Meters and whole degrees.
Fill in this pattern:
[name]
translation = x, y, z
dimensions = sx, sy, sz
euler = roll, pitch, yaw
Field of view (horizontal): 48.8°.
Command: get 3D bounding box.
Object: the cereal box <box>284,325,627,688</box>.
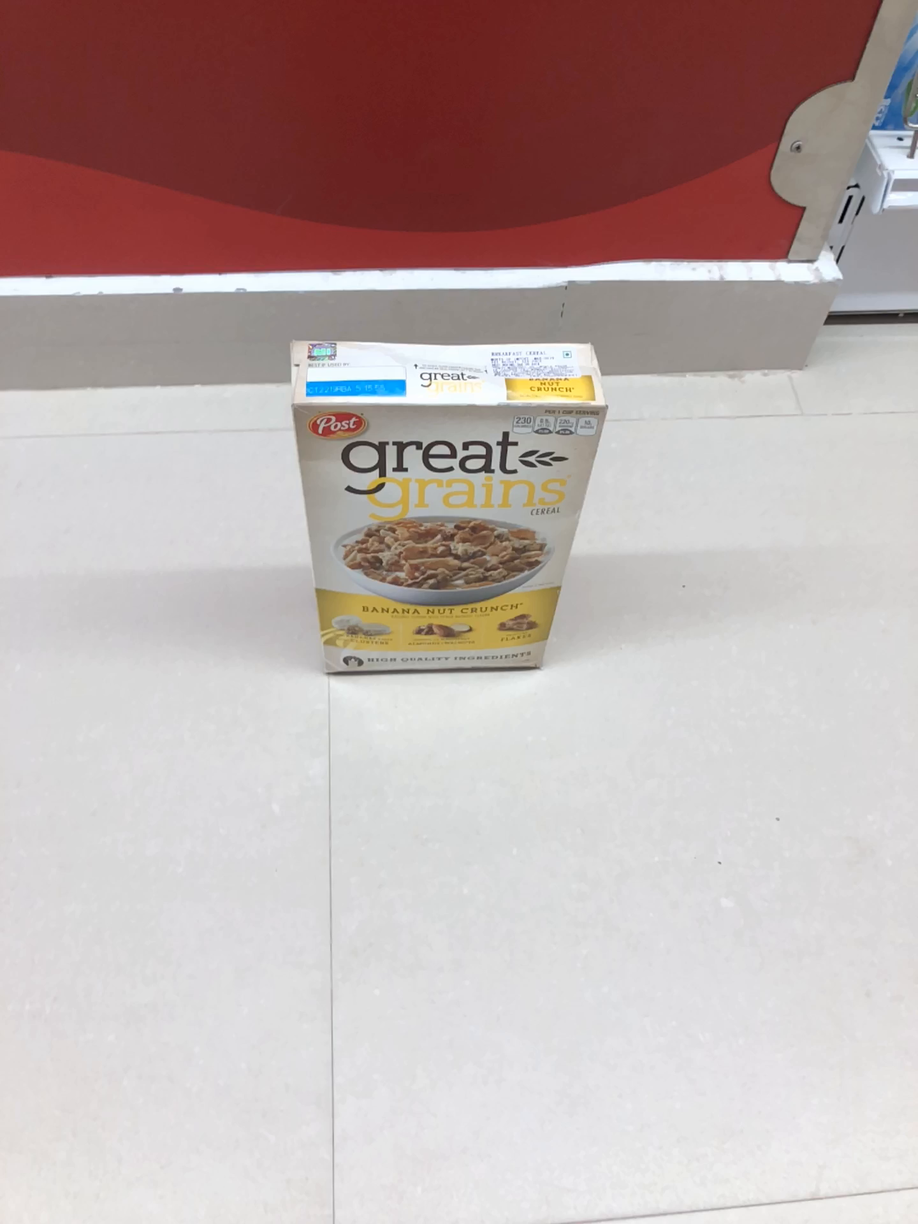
[cereal box]
translation = -0.012, -0.047, 0.594
dimensions = 0.160, 0.259, 0.060
euler = -2, 57, -6
